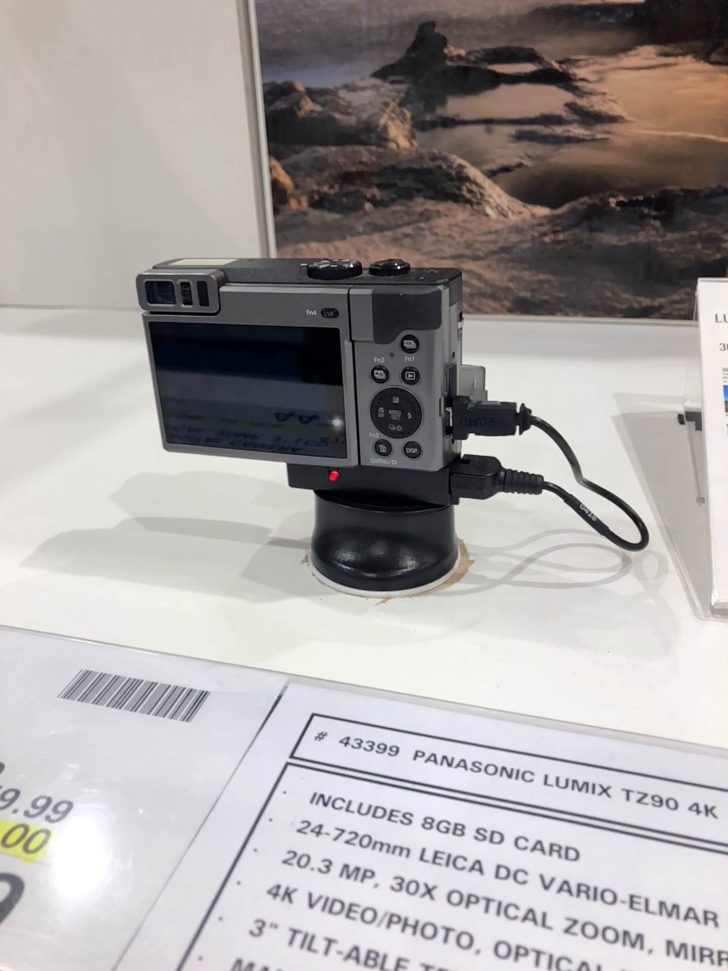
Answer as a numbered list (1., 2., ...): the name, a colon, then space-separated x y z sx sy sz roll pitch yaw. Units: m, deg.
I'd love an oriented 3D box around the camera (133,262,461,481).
1. camera: -0.022 -0.042 0.284 0.107 0.065 0.030 6 25 18
